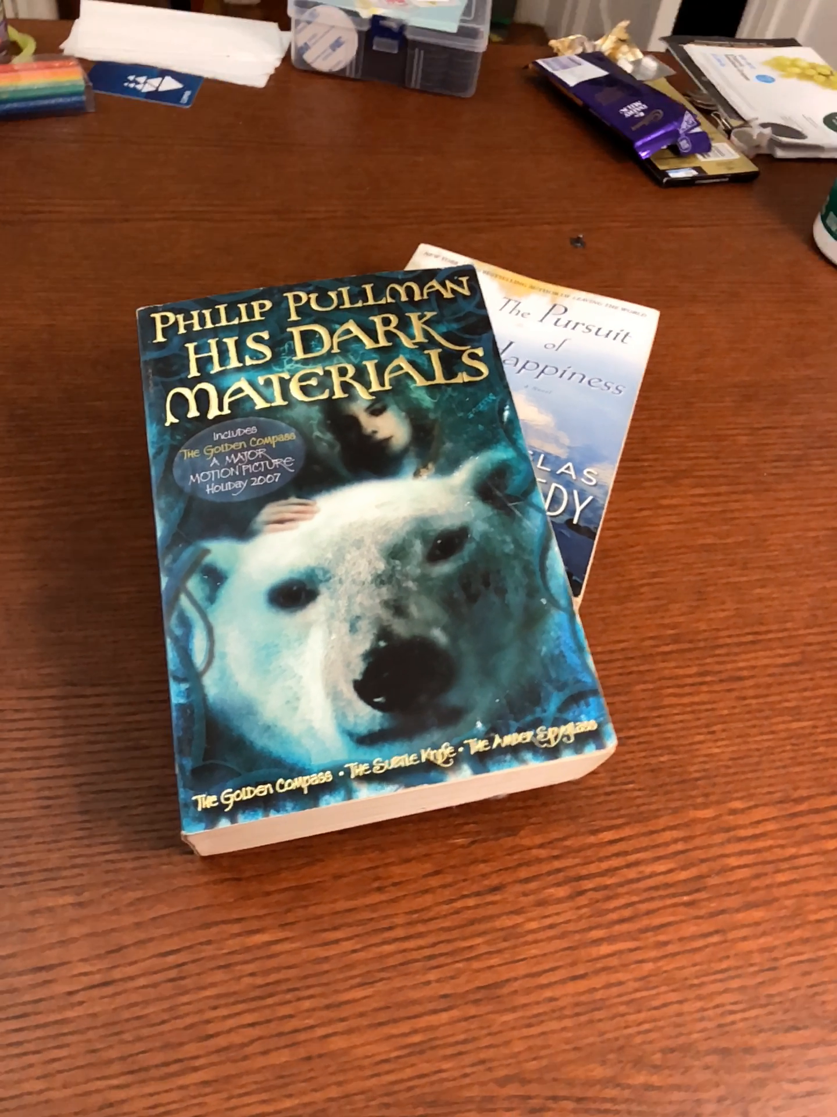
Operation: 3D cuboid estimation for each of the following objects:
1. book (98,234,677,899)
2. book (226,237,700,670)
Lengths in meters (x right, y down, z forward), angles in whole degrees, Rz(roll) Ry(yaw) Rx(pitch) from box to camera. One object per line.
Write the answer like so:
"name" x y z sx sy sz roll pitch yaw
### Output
"book" -0.025 -0.011 0.370 0.170 0.060 0.241 -9 65 -10
"book" 0.036 -0.073 0.490 0.170 0.040 0.241 18 52 14
